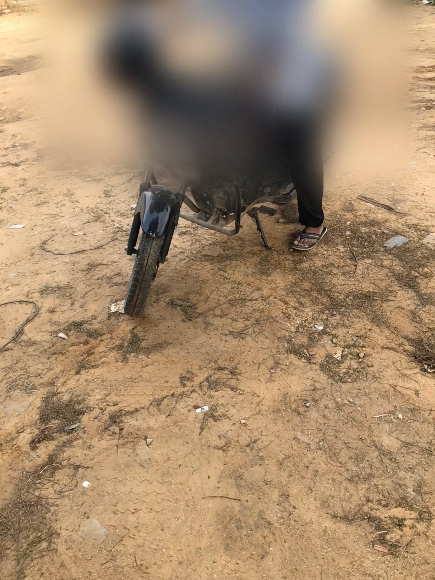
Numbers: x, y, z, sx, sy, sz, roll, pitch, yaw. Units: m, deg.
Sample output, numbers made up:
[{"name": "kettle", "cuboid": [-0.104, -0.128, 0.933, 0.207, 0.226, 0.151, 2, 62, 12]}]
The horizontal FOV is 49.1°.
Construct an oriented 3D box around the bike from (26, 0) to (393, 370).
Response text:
[{"name": "bike", "cuboid": [0.113, -0.612, 2.211, 0.669, 0.913, 1.570, 20, 49, 35]}]
